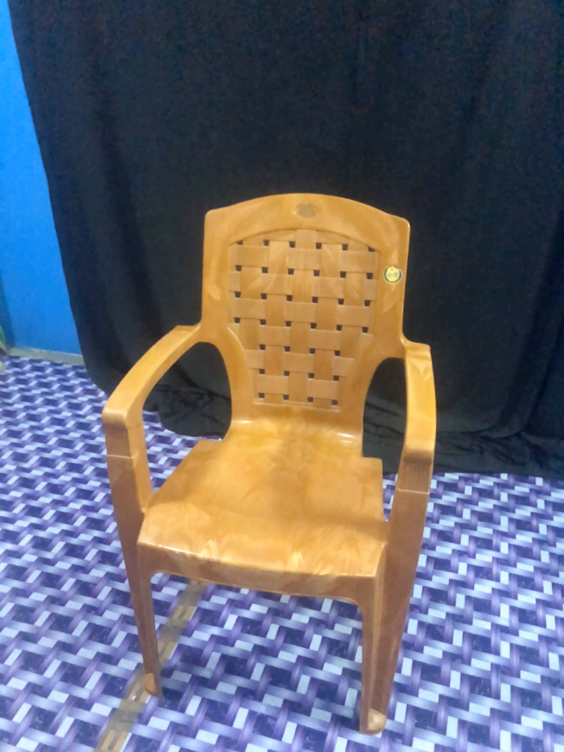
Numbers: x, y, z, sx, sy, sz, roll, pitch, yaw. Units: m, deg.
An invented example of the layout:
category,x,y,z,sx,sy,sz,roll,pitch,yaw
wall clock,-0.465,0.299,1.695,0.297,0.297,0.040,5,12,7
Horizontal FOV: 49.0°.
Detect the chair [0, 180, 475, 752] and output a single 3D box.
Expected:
category,x,y,z,sx,sy,sz,roll,pitch,yaw
chair,-0.014,0.115,1.178,0.600,0.786,0.664,7,30,12
